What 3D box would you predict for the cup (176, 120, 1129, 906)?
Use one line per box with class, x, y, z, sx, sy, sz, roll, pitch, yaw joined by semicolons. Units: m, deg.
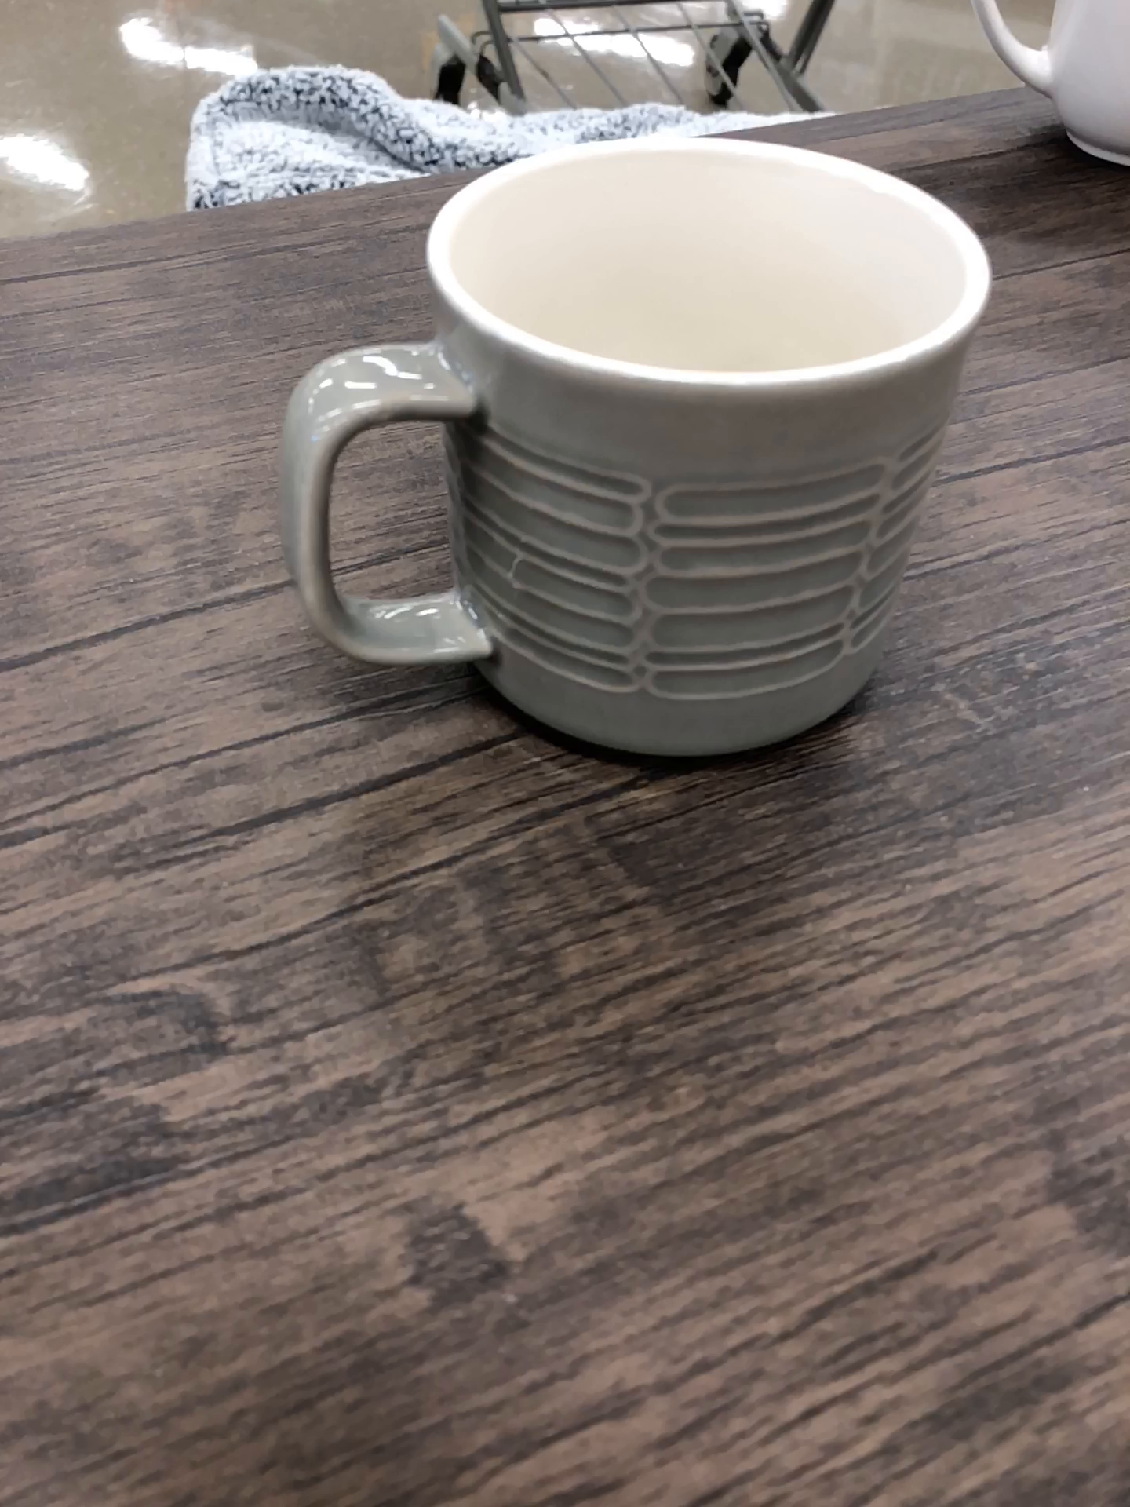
cup;0.009;-0.052;0.243;0.140;0.090;0.100;-11;47;-12
